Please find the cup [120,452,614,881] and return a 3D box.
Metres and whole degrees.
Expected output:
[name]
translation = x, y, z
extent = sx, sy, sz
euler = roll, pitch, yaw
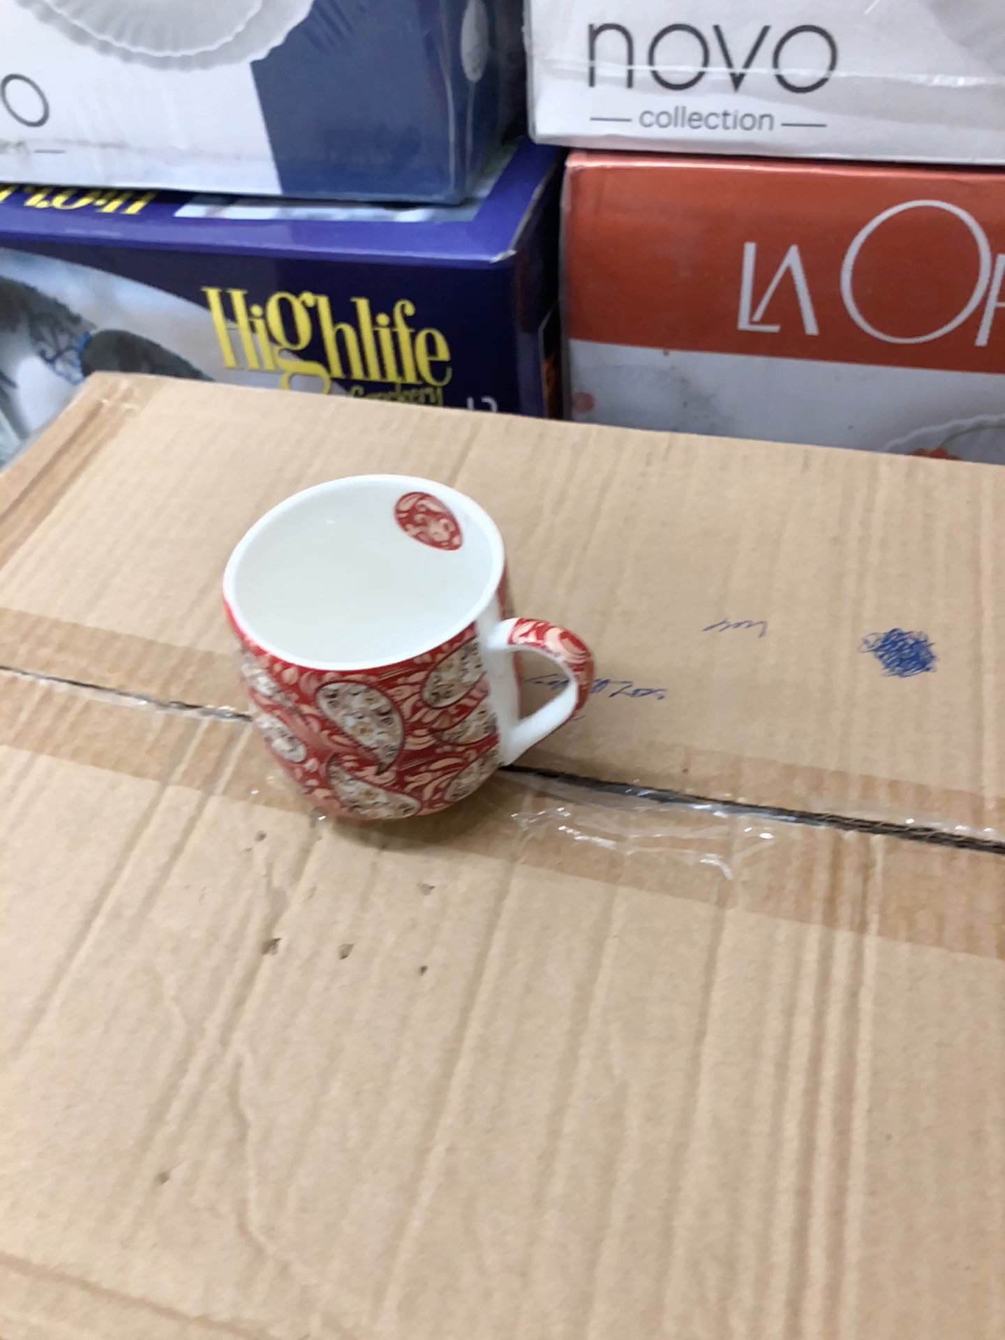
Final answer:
[cup]
translation = -0.024, -0.003, 0.261
extent = 0.090, 0.060, 0.070
euler = 6, 46, 11
